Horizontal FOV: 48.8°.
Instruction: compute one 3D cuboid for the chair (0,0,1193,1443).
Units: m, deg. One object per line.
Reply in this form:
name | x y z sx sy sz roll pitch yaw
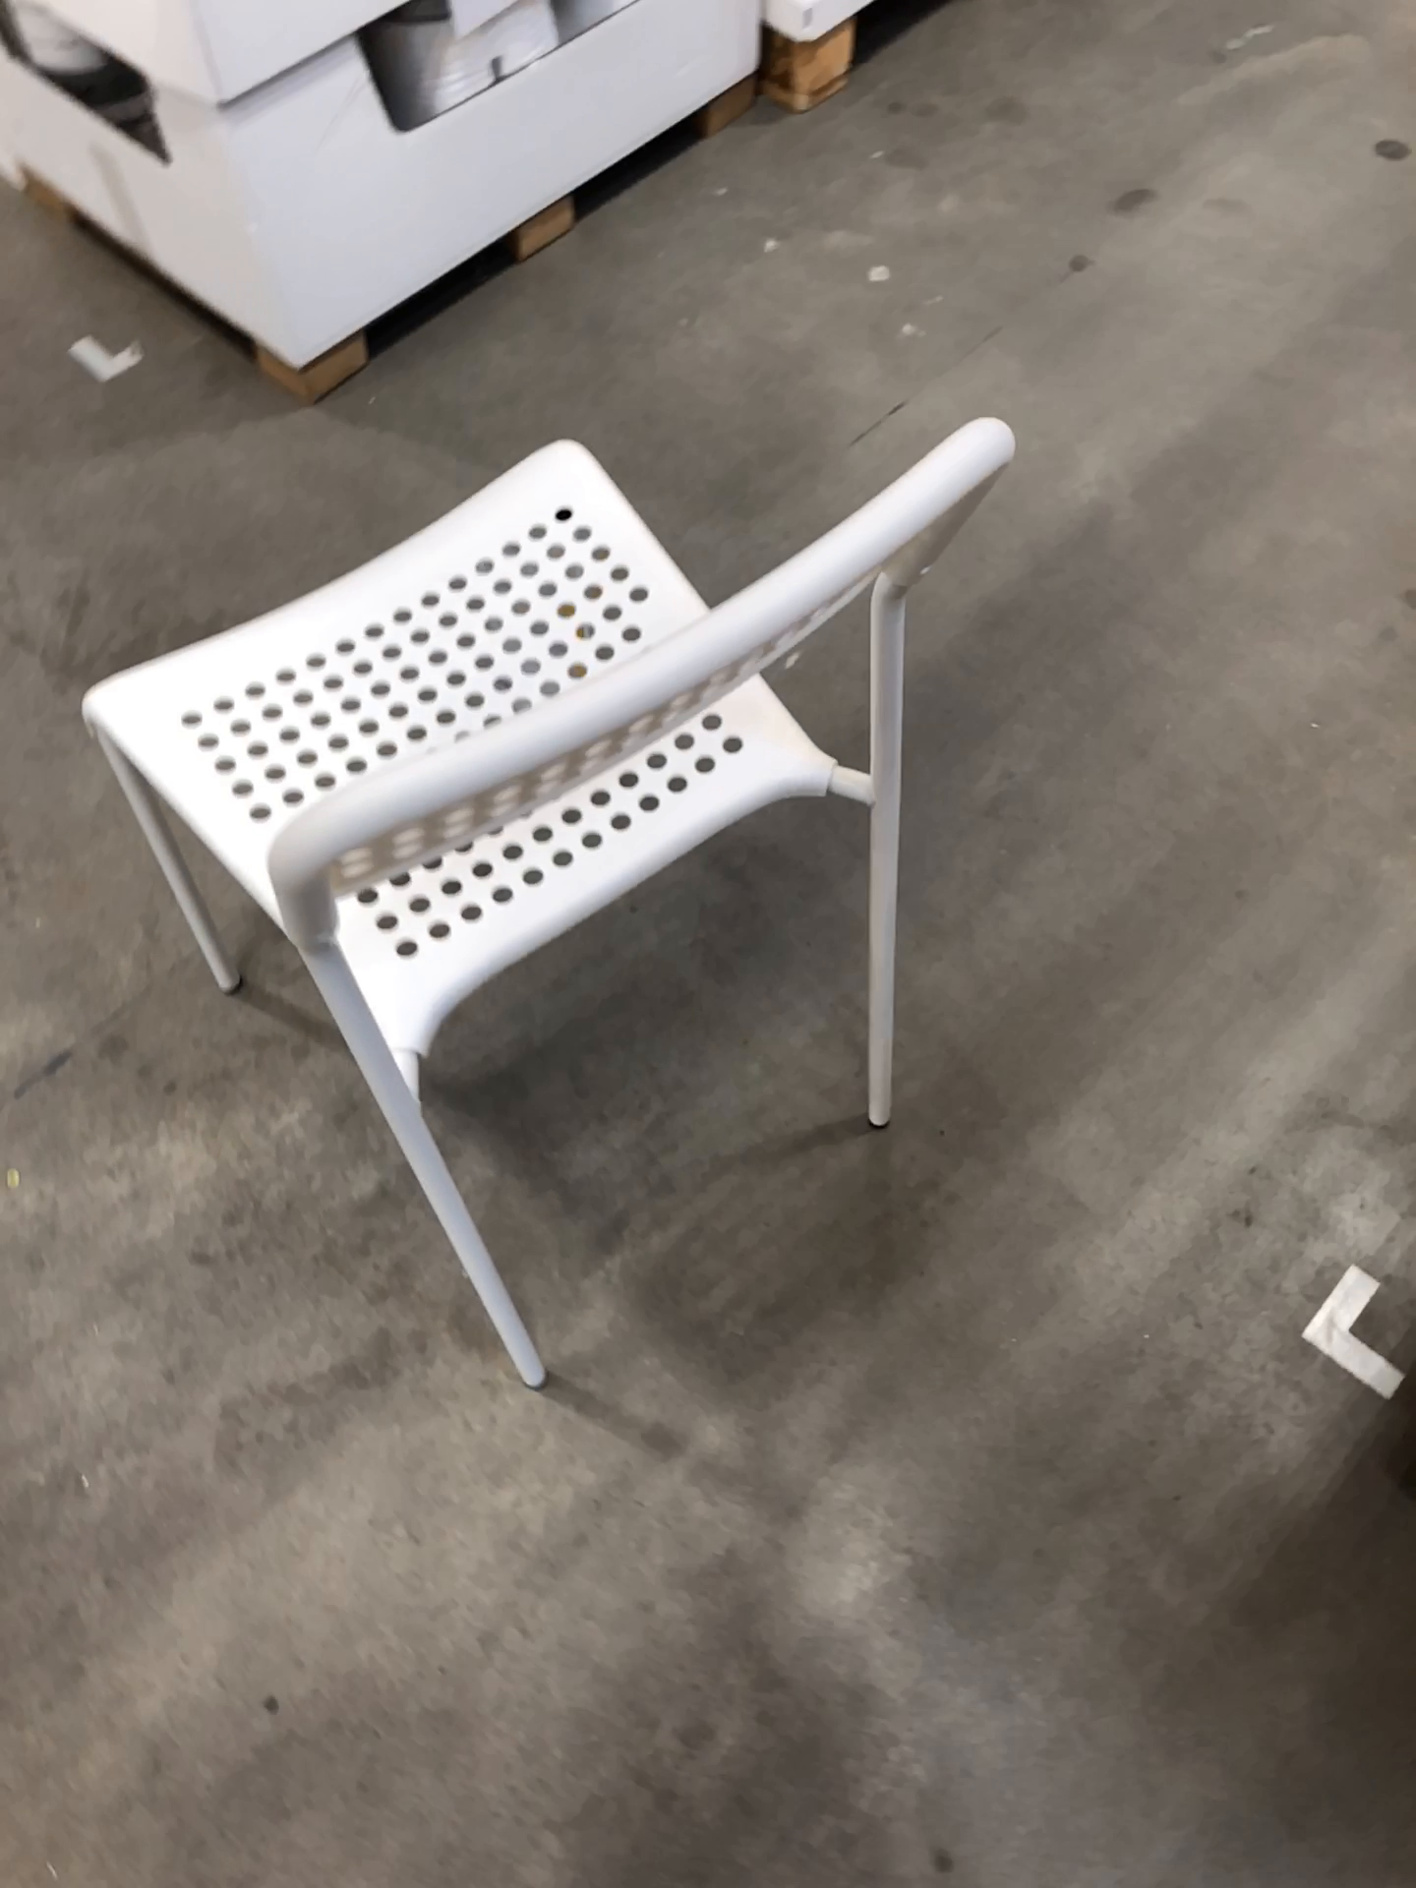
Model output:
chair | -0.134 -0.113 0.972 0.460 0.699 0.511 -32 65 -15
